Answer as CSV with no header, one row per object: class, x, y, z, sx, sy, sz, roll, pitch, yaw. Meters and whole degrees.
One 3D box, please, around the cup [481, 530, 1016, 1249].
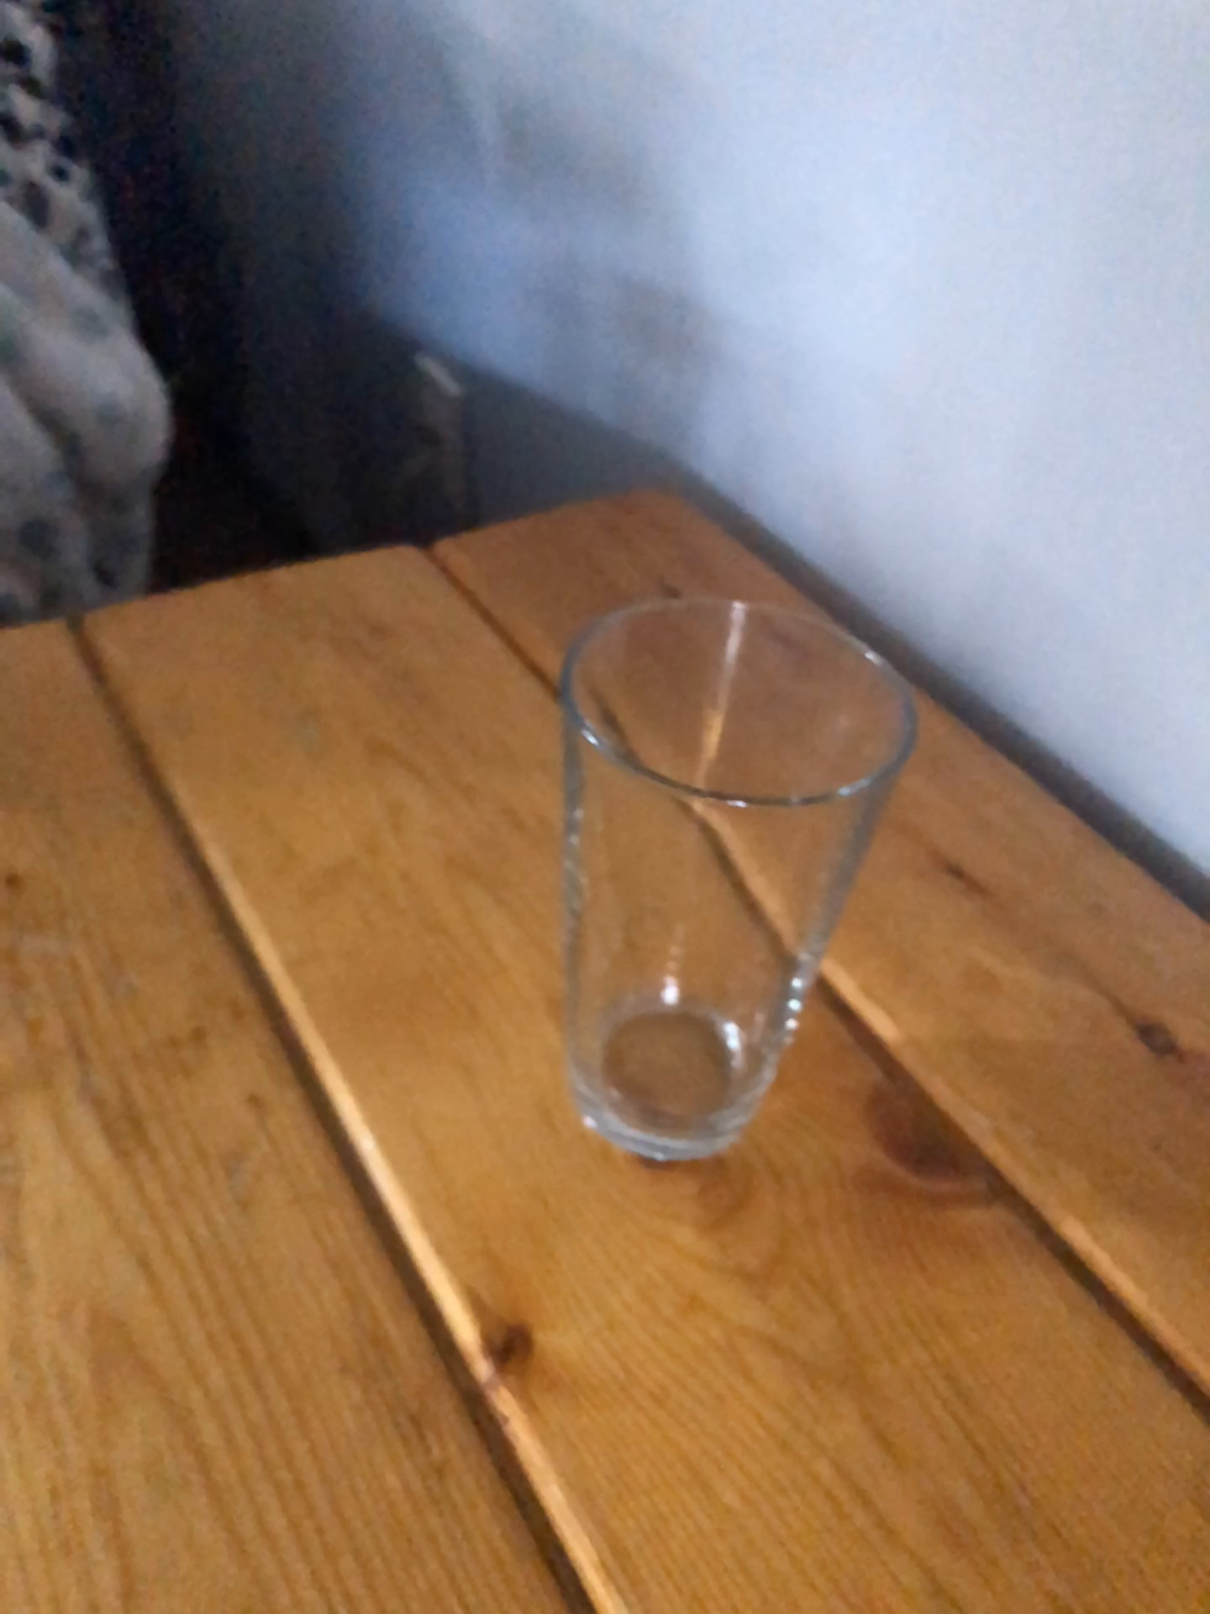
cup,0.030,0.022,0.370,0.090,0.149,0.090,2,40,-2
